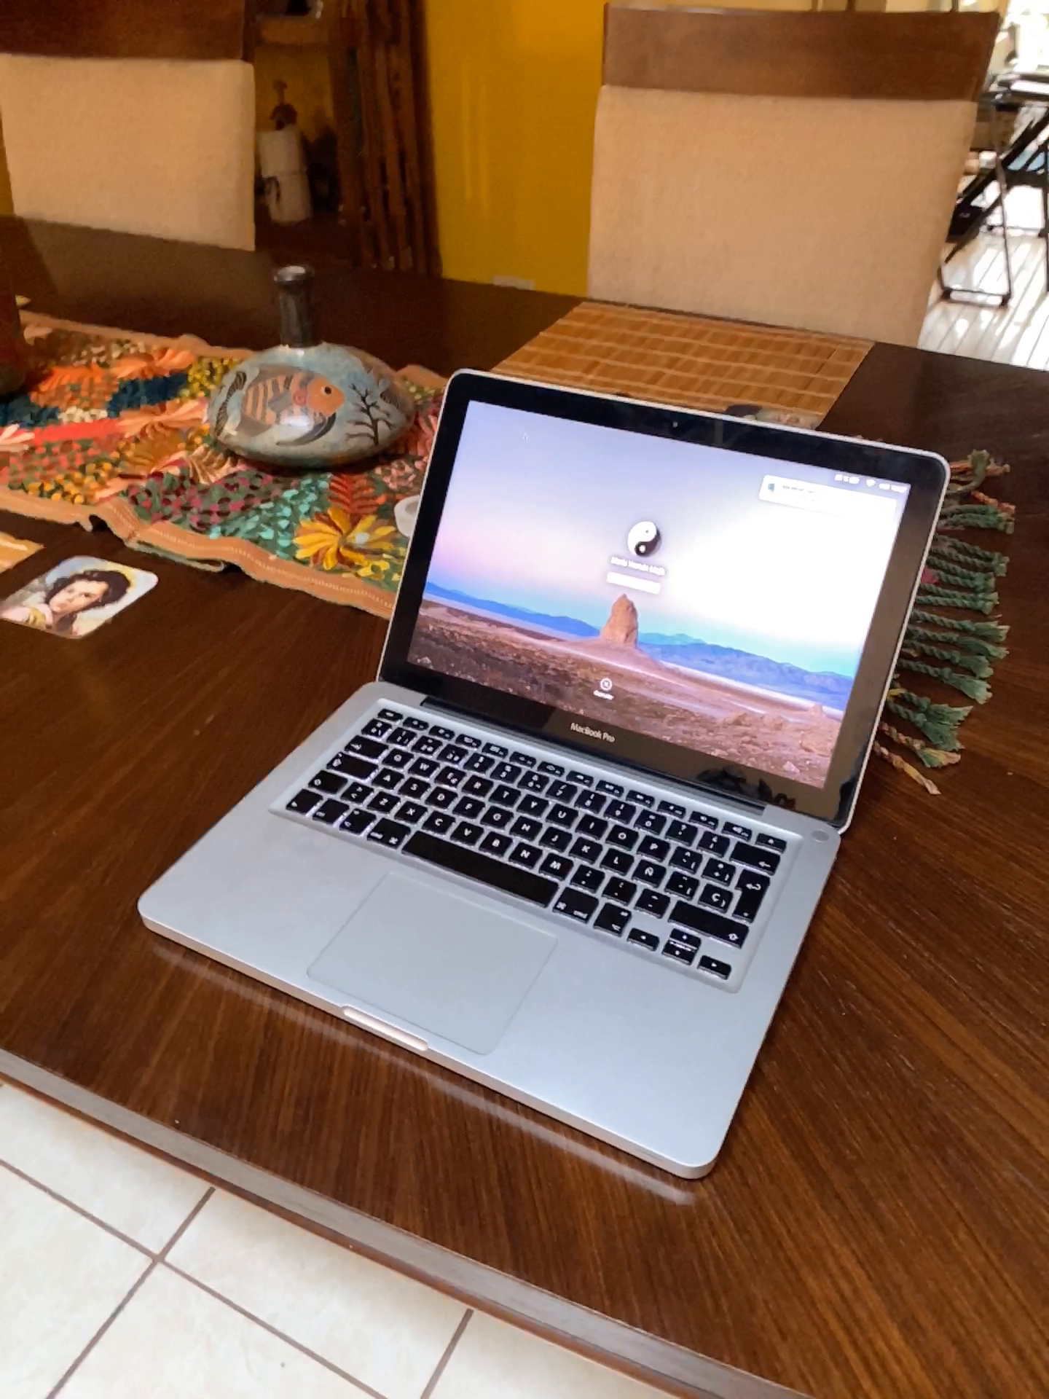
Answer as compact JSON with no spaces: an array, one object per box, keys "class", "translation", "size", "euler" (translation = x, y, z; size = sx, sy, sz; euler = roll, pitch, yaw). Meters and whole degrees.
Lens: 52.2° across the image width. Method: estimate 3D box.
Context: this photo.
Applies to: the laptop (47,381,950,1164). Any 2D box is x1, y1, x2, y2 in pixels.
[{"class":"laptop","translation":[0.015,-0.008,0.597],"size":[0.325,0.170,0.359],"euler":[17,41,22]}]
